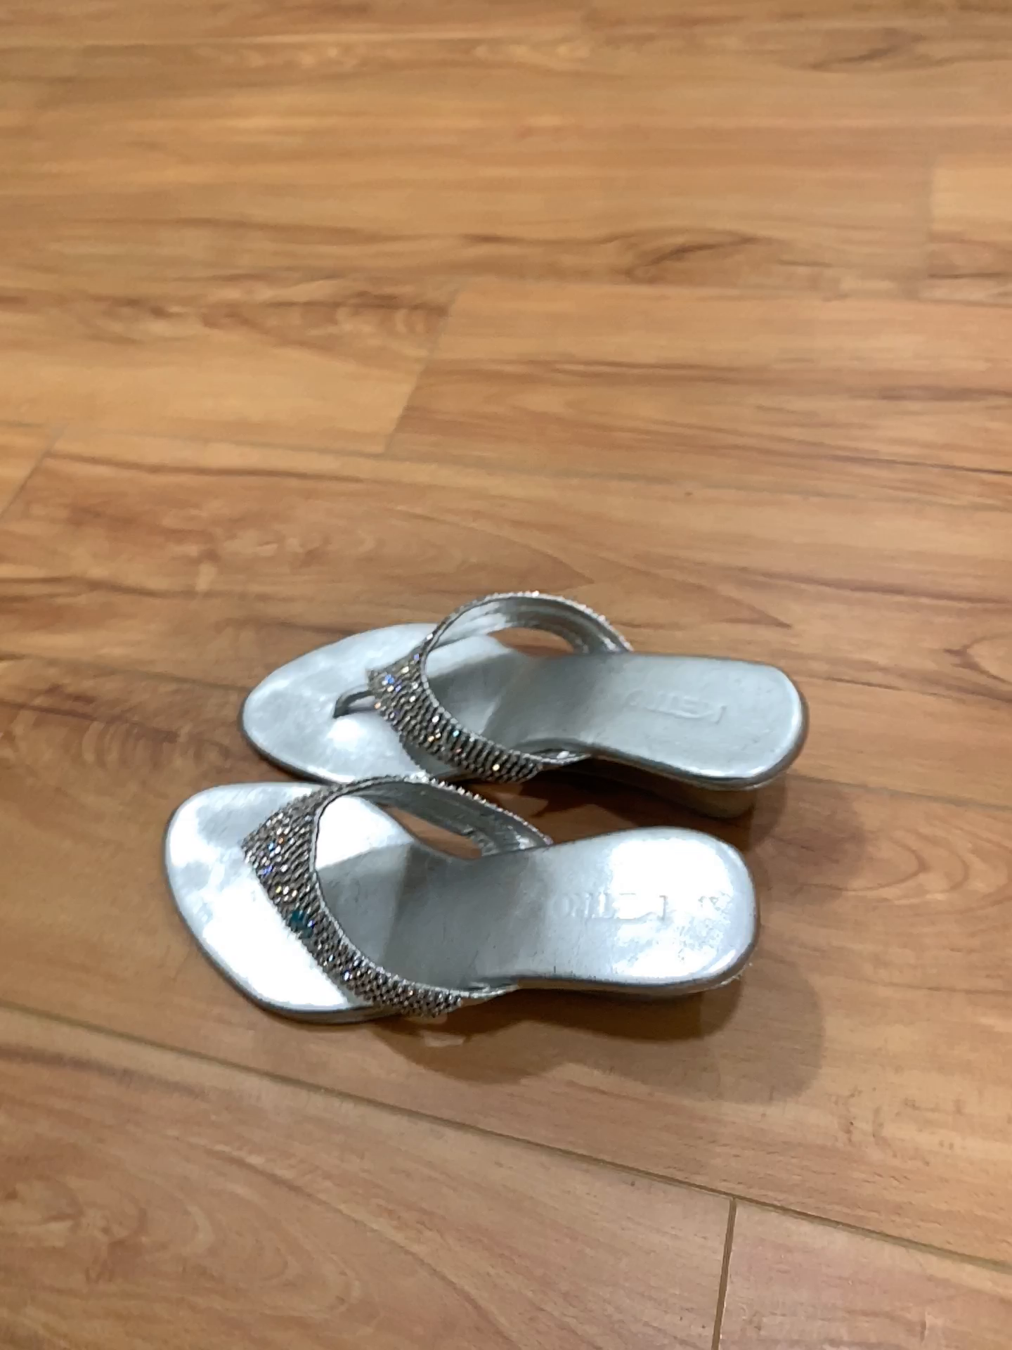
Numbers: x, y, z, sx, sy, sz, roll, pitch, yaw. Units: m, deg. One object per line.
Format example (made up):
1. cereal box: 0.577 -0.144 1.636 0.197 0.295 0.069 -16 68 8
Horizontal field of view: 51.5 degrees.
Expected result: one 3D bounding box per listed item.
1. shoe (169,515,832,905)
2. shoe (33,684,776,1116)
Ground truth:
1. shoe: 0.000 0.009 0.409 0.228 0.073 0.085 11 57 17
2. shoe: -0.028 0.074 0.368 0.228 0.073 0.096 6 55 14
